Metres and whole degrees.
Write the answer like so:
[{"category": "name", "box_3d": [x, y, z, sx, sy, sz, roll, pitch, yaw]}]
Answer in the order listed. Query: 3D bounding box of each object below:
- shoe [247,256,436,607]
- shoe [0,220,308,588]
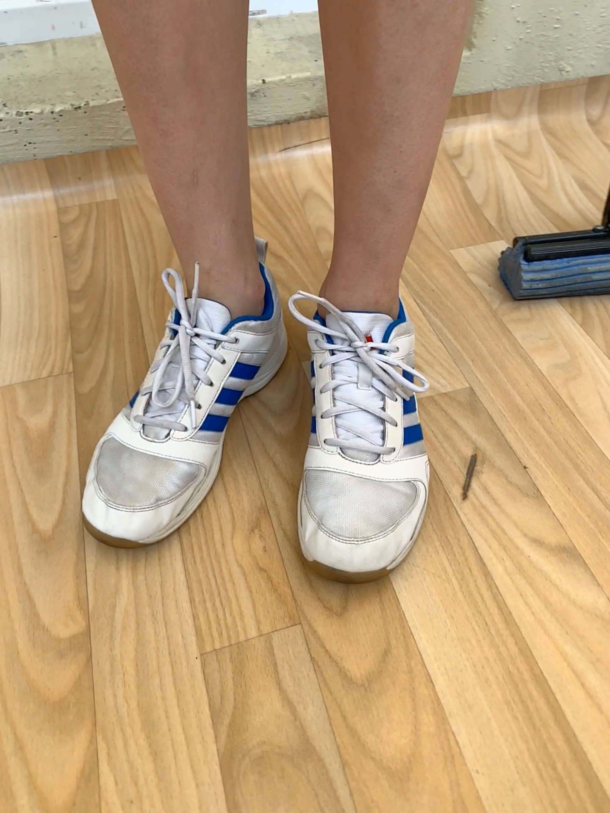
[{"category": "shoe", "box_3d": [0.038, 0.002, 0.474, 0.100, 0.090, 0.261, 7, 47, 7]}, {"category": "shoe", "box_3d": [-0.100, -0.017, 0.485, 0.100, 0.120, 0.261, 19, 50, 18]}]
